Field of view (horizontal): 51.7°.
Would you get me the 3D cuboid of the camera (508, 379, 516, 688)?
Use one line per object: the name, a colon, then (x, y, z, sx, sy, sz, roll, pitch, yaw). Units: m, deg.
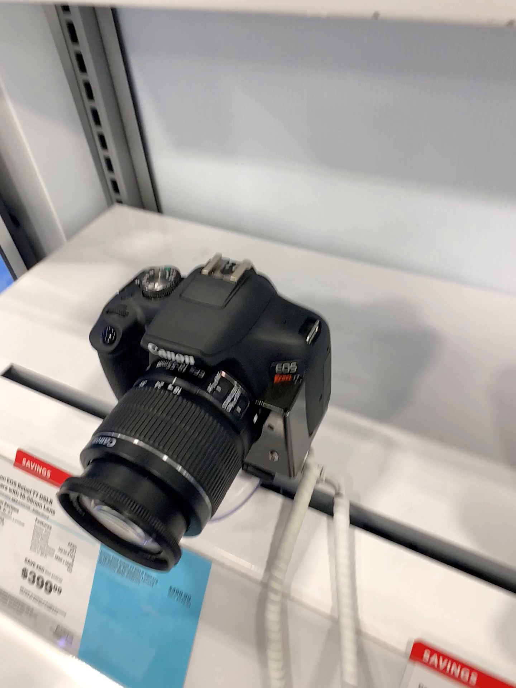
camera: (0.178, 0.096, 0.190, 0.121, 0.080, 0.103, 25, 53, 29)

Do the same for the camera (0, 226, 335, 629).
camera: (-0.045, 0.030, 0.272, 0.125, 0.099, 0.141, 16, 49, 23)
